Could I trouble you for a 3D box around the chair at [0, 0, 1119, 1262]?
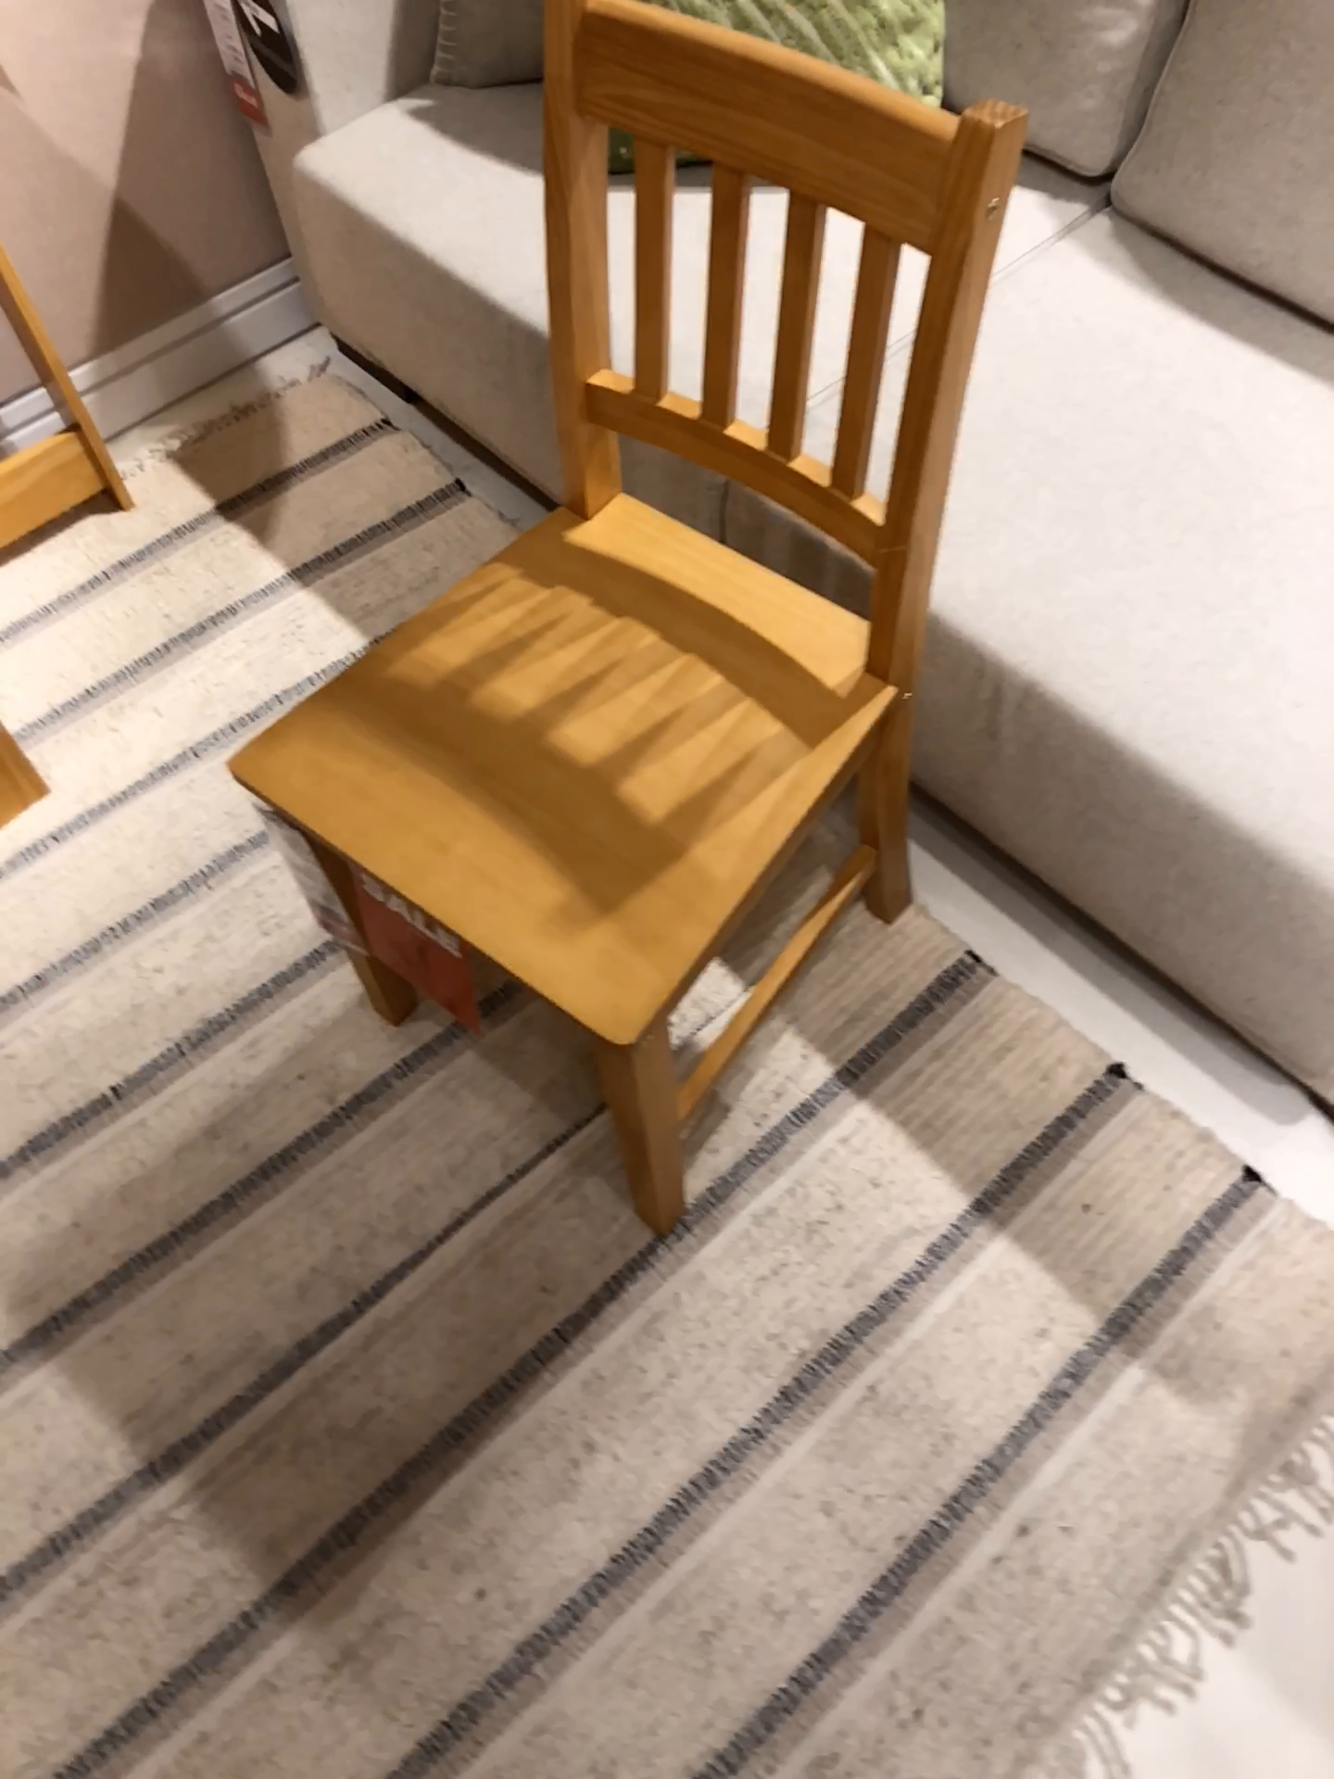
[{"bbox_3d":[-0.049,-0.171,1.191,0.461,0.816,0.522,33,65,22],"label":"chair"}]
